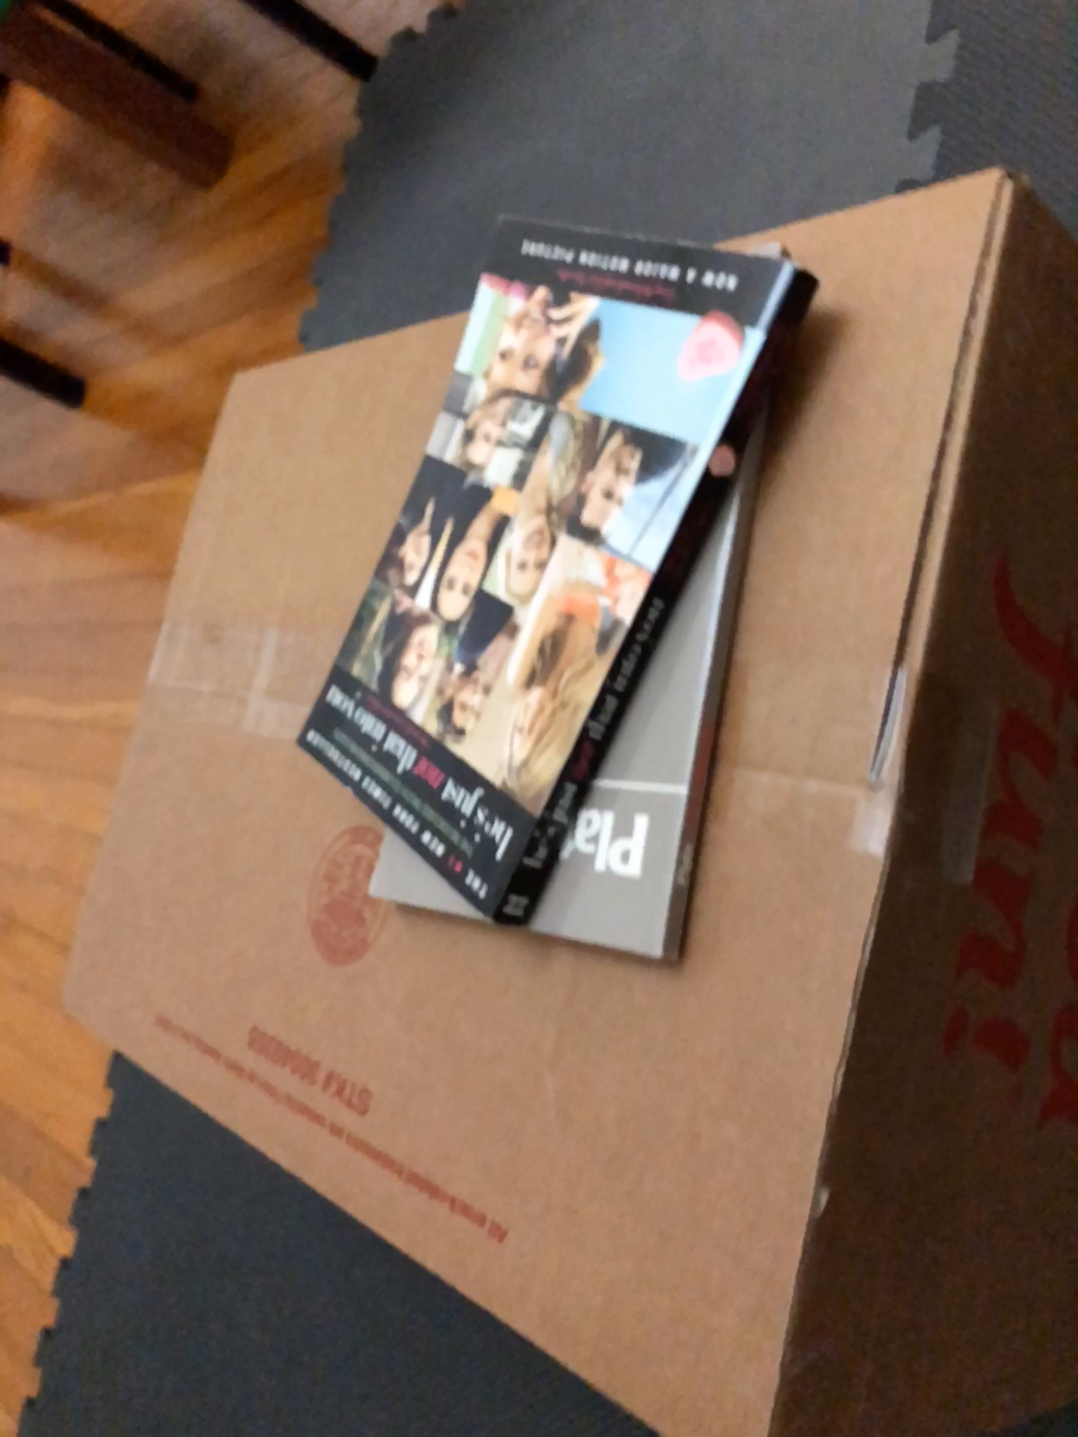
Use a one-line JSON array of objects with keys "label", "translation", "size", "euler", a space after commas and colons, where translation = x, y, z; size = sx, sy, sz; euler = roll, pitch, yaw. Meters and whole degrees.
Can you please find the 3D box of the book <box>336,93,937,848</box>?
[{"label": "book", "translation": [0.016, -0.093, 0.401], "size": [0.151, 0.010, 0.230], "euler": [32, 100, 48]}]
